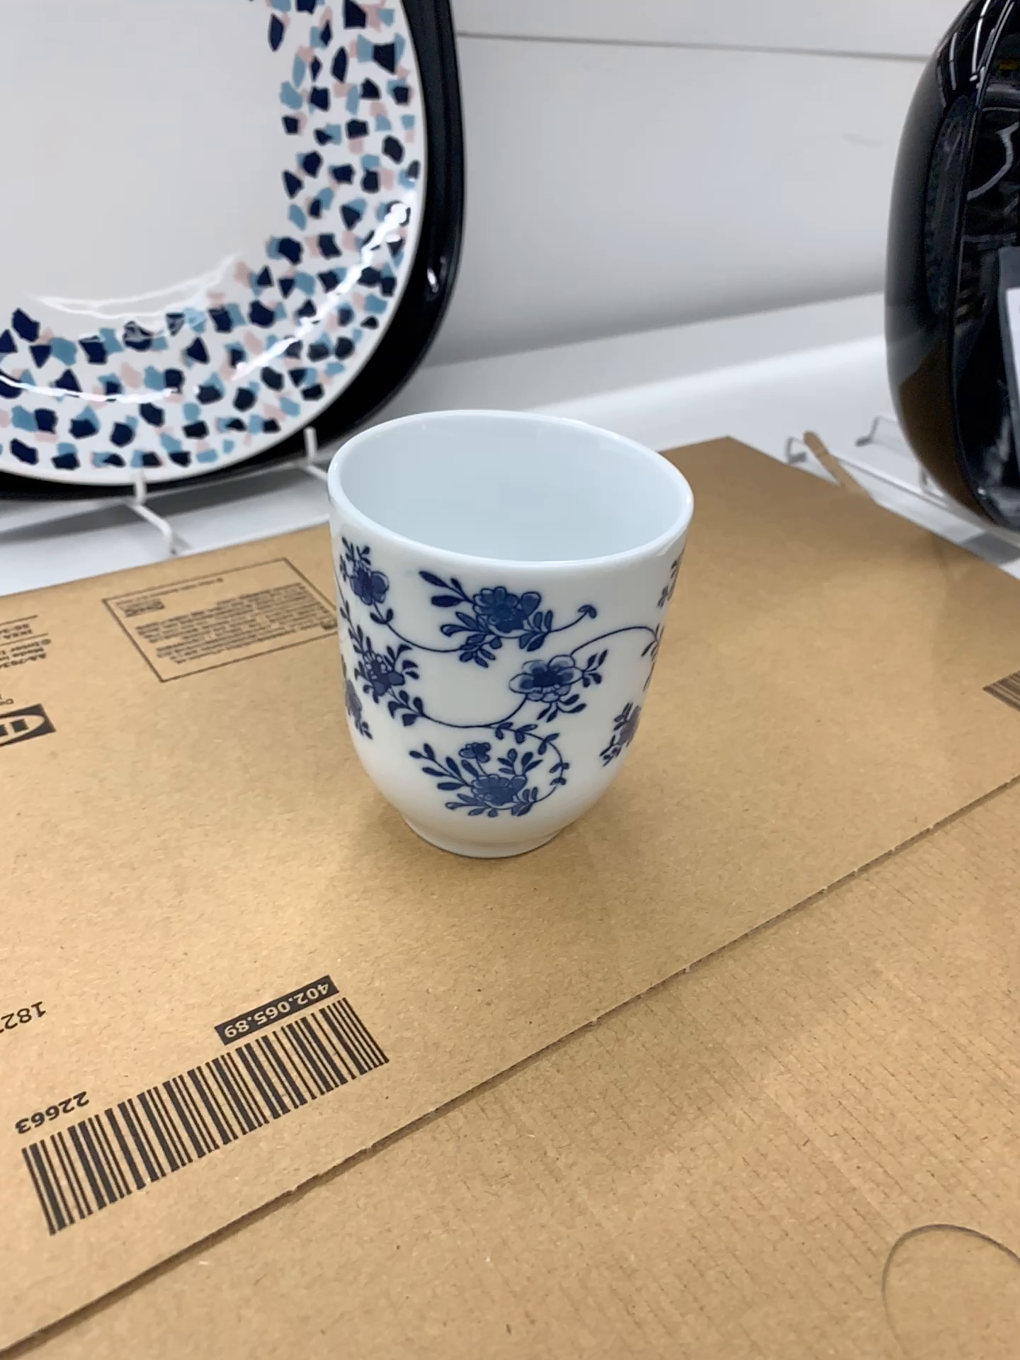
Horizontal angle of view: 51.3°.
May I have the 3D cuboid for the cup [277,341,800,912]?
[{"bbox_3d":[0.008,-0.018,0.229,0.080,0.080,0.080,3,32,-2],"label":"cup"}]
